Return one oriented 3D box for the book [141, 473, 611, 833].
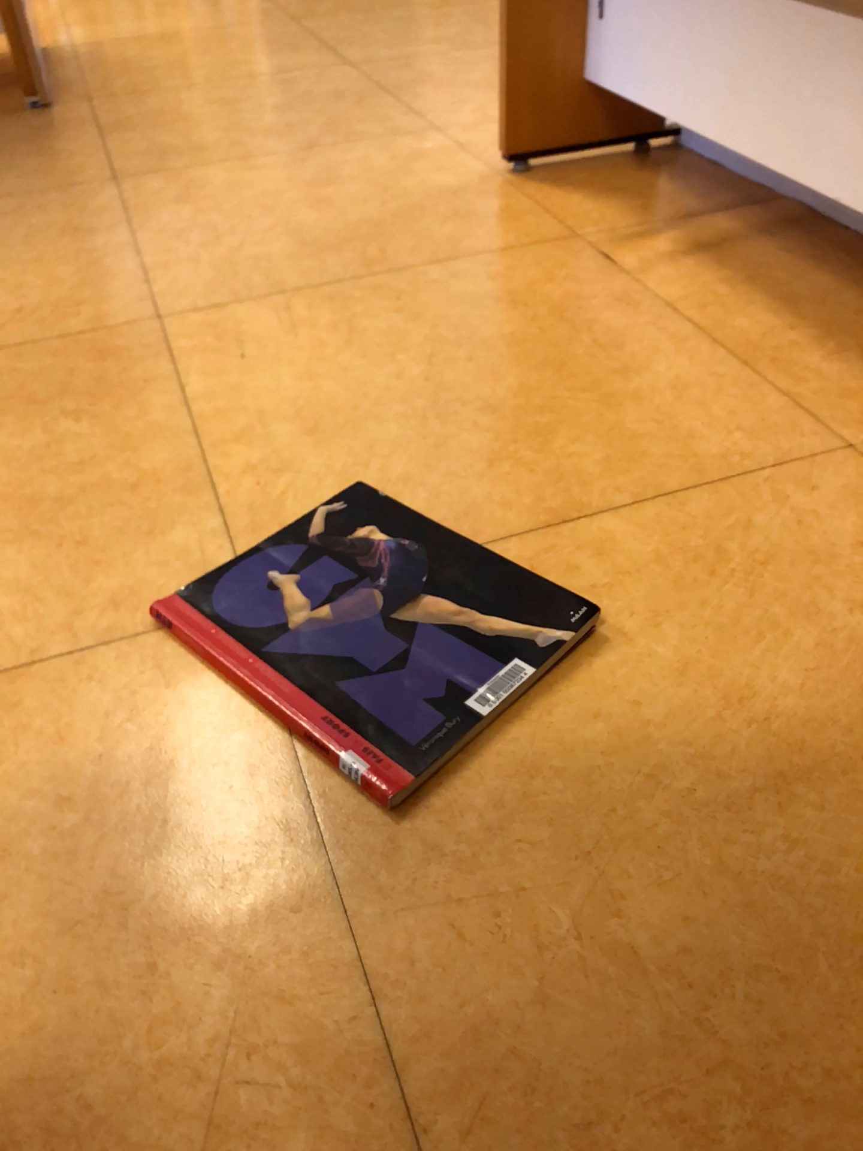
[{"bbox_3d":[-0.038,0.030,0.616,0.234,0.030,0.194,30,50,33],"label":"book"}]
